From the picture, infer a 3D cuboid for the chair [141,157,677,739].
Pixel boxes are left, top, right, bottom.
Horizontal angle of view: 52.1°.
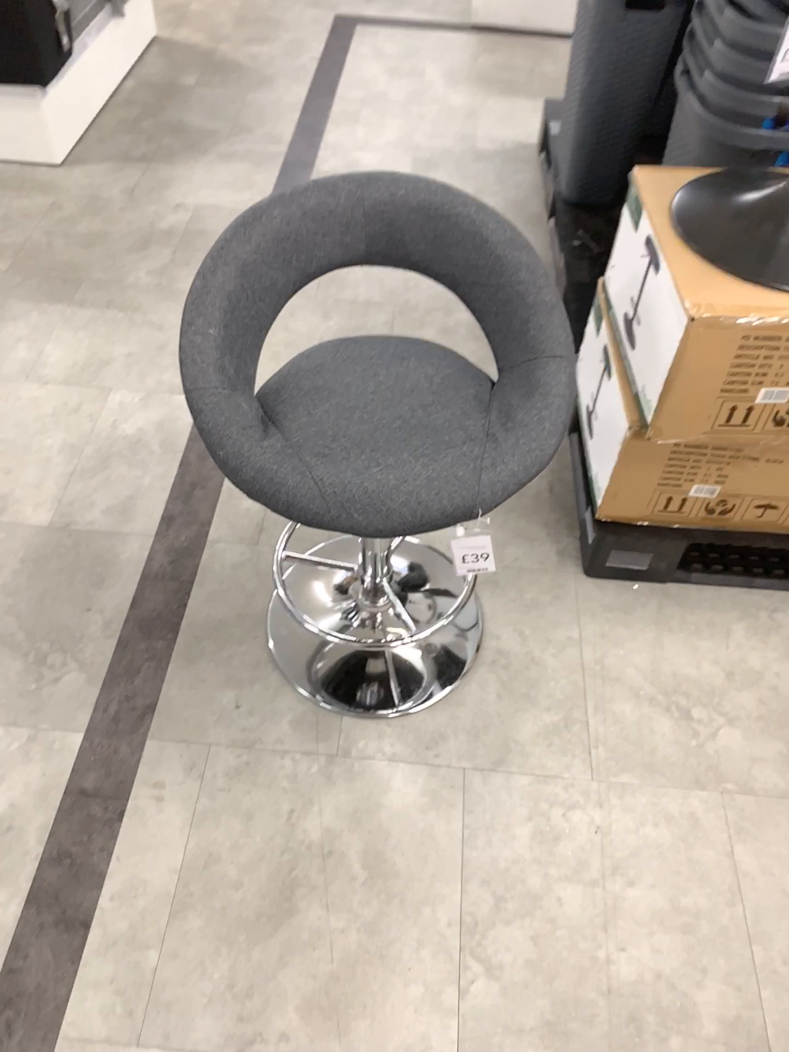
[{"bbox_3d":[-0.001,-0.069,1.279,0.546,0.788,0.489,1,50,-2],"label":"chair"}]
